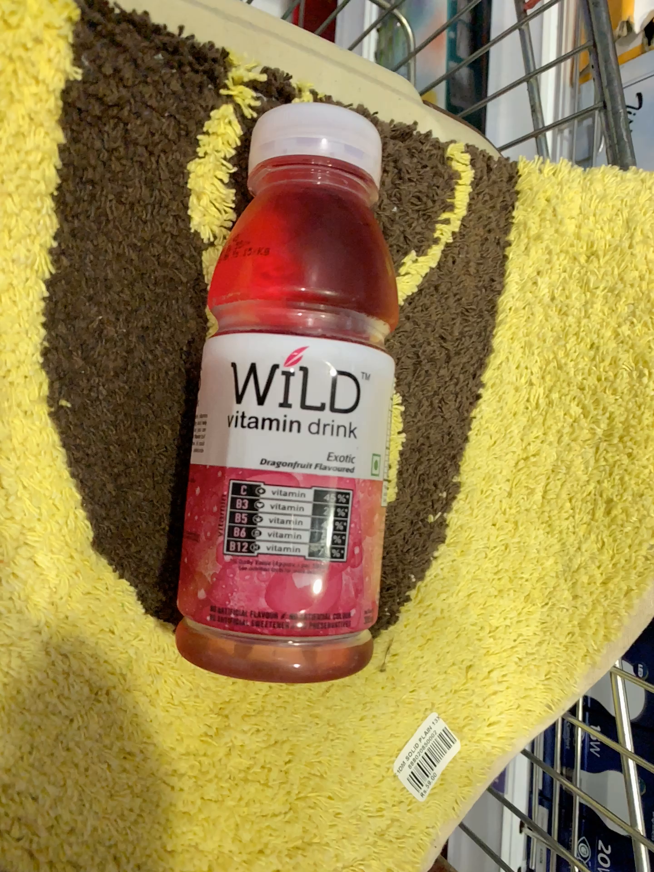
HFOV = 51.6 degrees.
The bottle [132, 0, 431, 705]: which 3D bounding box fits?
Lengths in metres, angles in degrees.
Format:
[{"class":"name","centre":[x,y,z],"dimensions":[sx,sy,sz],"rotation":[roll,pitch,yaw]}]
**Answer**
[{"class":"bottle","centre":[-0.012,-0.022,0.185],"dimensions":[0.060,0.050,0.170],"rotation":[4,85,-9]}]
